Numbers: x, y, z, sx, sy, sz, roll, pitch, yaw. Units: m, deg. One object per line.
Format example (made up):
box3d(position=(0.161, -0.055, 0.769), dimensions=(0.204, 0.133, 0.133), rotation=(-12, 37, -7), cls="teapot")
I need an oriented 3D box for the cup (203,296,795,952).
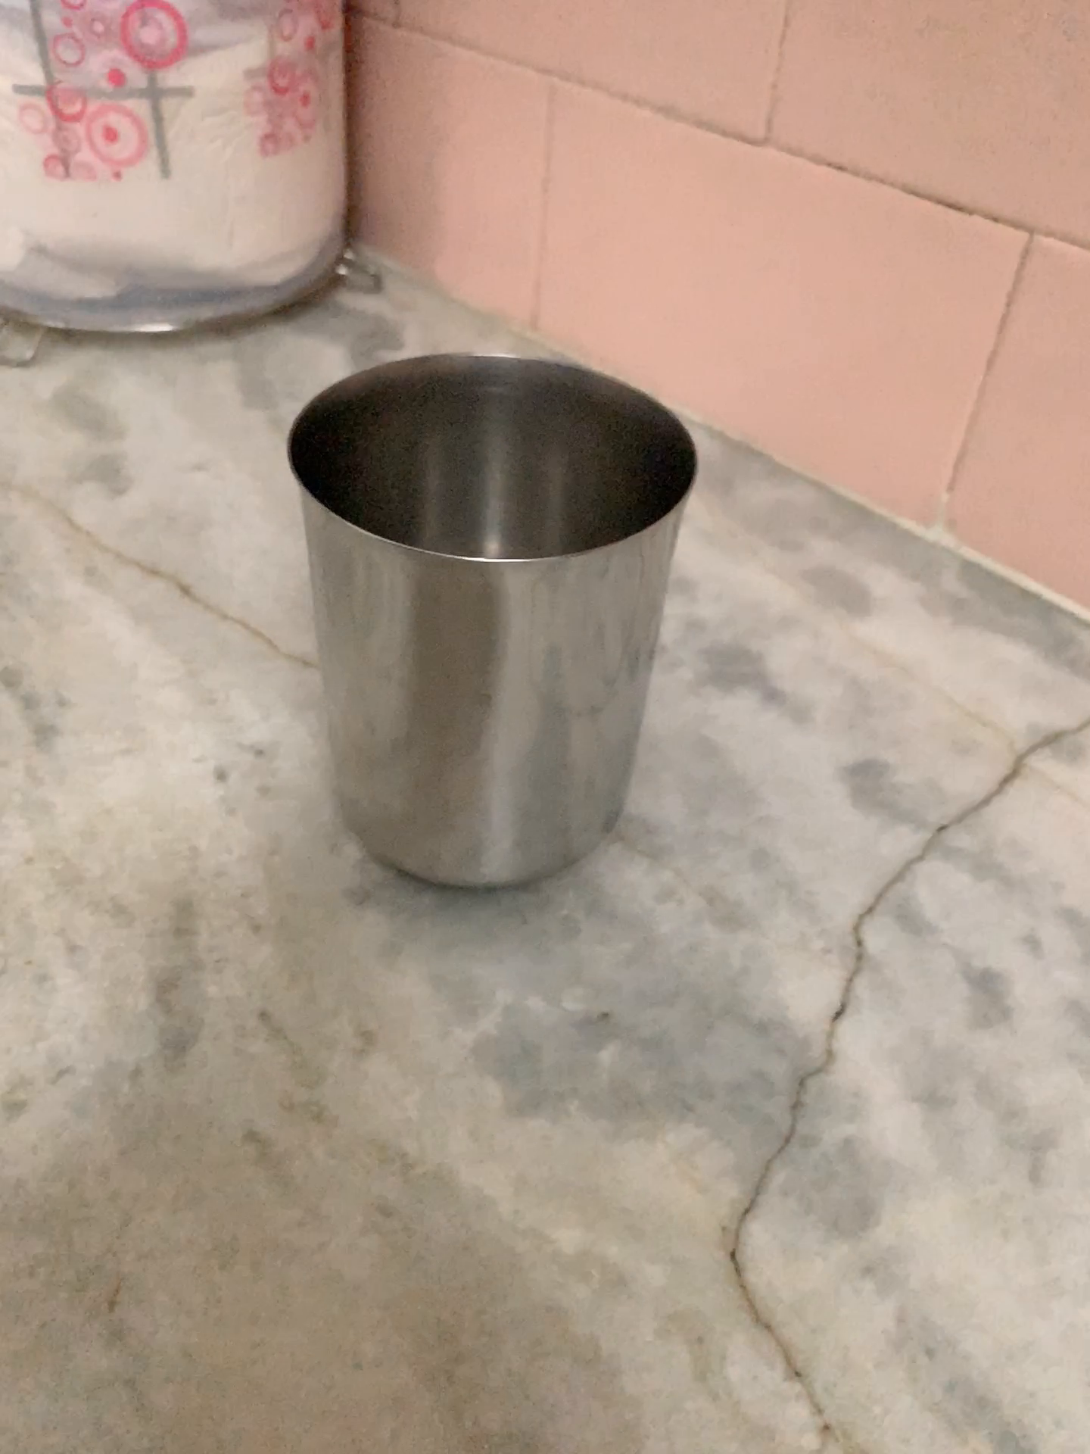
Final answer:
box3d(position=(-0.014, -0.025, 0.236), dimensions=(0.080, 0.090, 0.080), rotation=(2, 41, -2), cls="cup")
